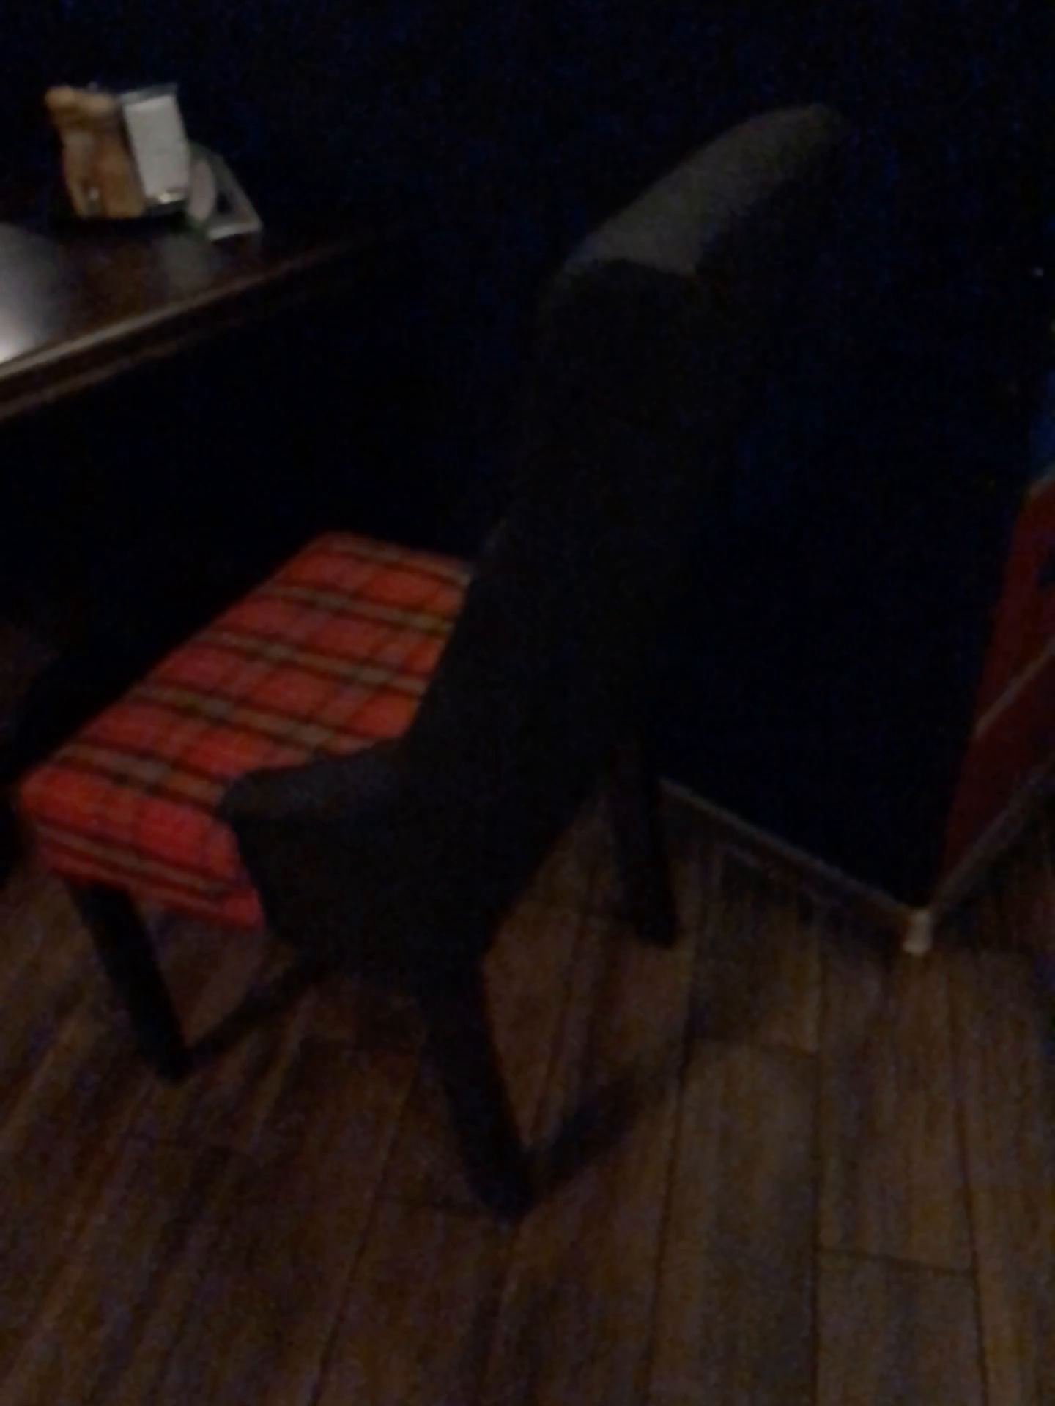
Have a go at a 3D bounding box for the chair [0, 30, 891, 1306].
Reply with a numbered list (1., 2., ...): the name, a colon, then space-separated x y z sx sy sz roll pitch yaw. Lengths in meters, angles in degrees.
1. chair: -0.082 -0.034 1.140 0.611 1.003 0.523 15 41 24
